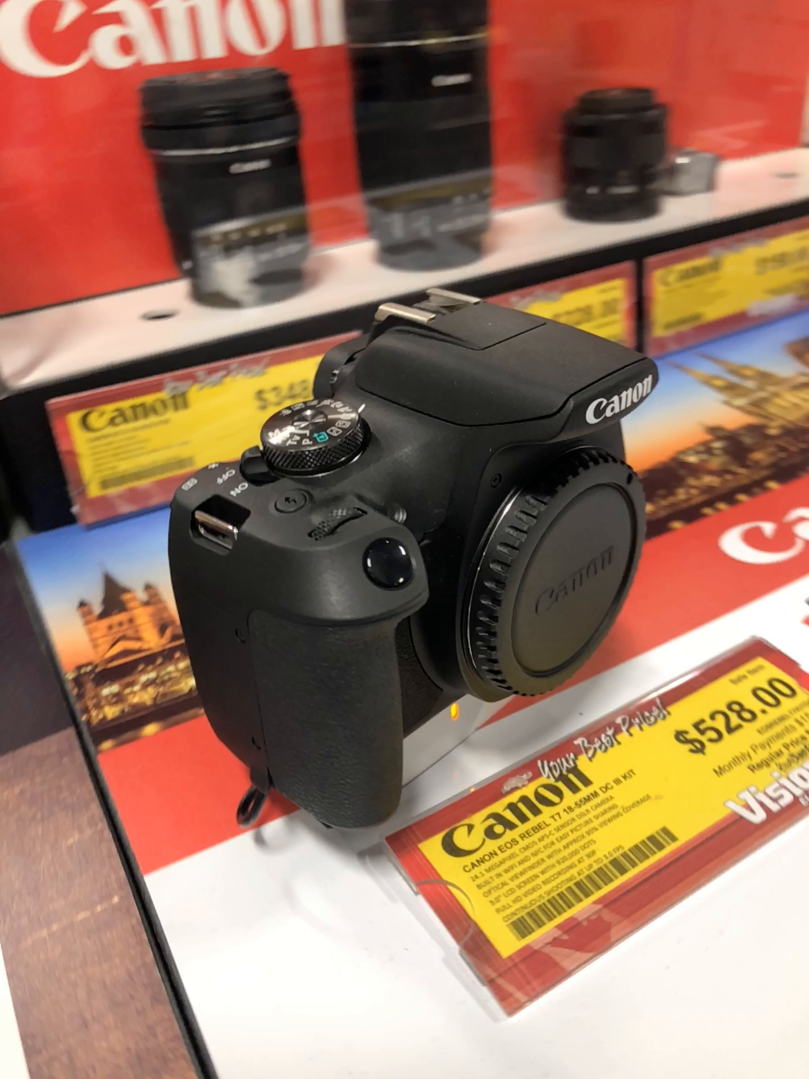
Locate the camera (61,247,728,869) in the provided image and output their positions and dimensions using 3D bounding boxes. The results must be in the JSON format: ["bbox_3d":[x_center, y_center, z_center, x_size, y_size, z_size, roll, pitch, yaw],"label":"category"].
[{"bbox_3d":[0.004,-0.010,0.234,0.130,0.089,0.090,-29,38,-34],"label":"camera"}]
